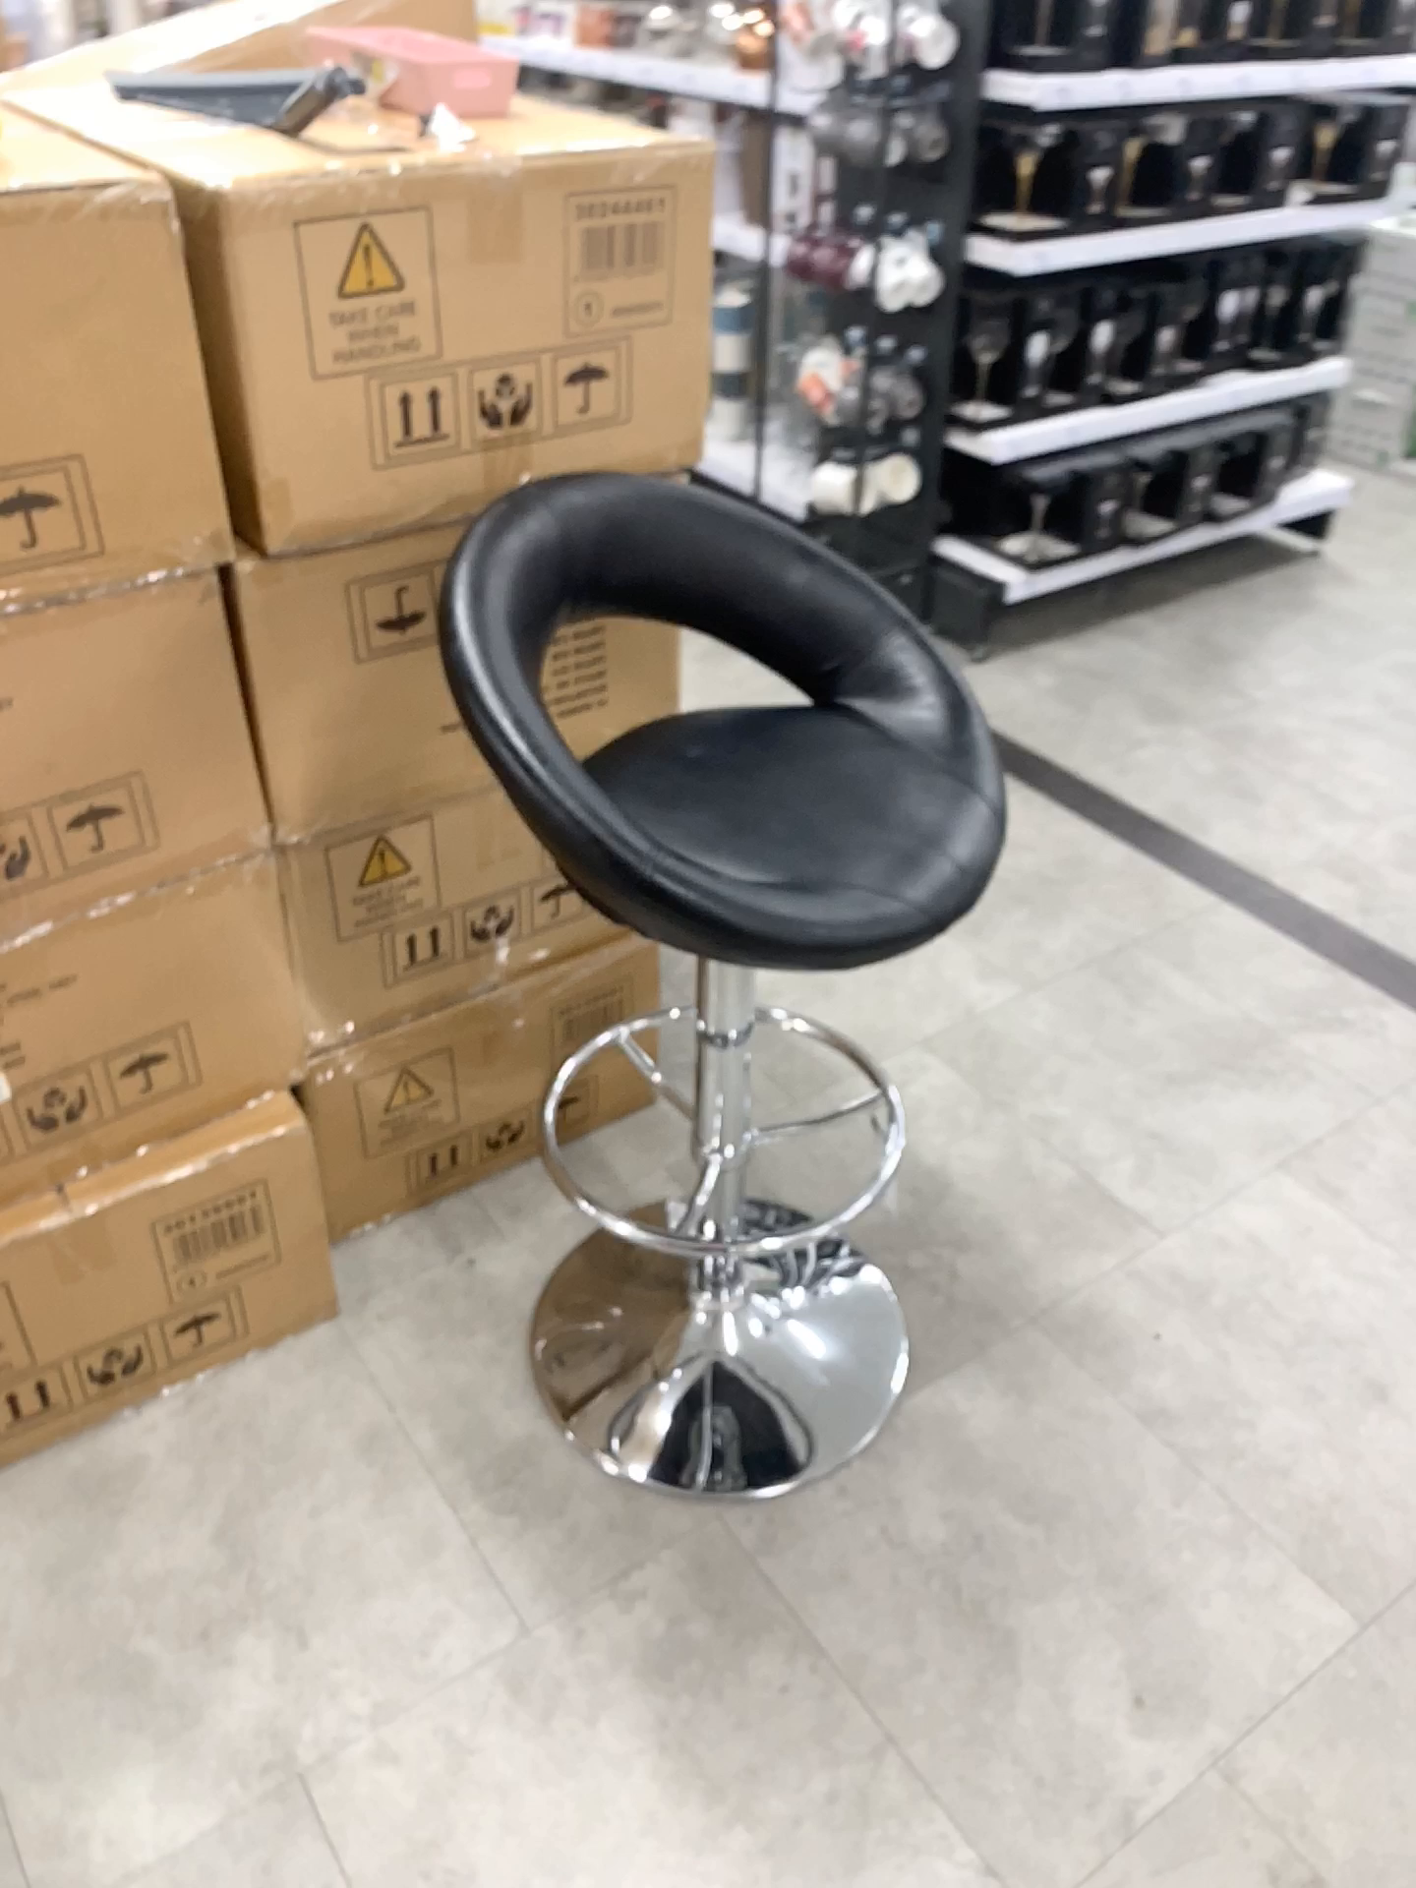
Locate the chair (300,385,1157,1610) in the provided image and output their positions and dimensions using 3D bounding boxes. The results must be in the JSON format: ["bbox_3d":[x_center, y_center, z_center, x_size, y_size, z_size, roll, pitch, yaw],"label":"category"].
[{"bbox_3d":[0.036,0.048,1.388,0.483,0.933,0.513,17,38,21],"label":"chair"}]
